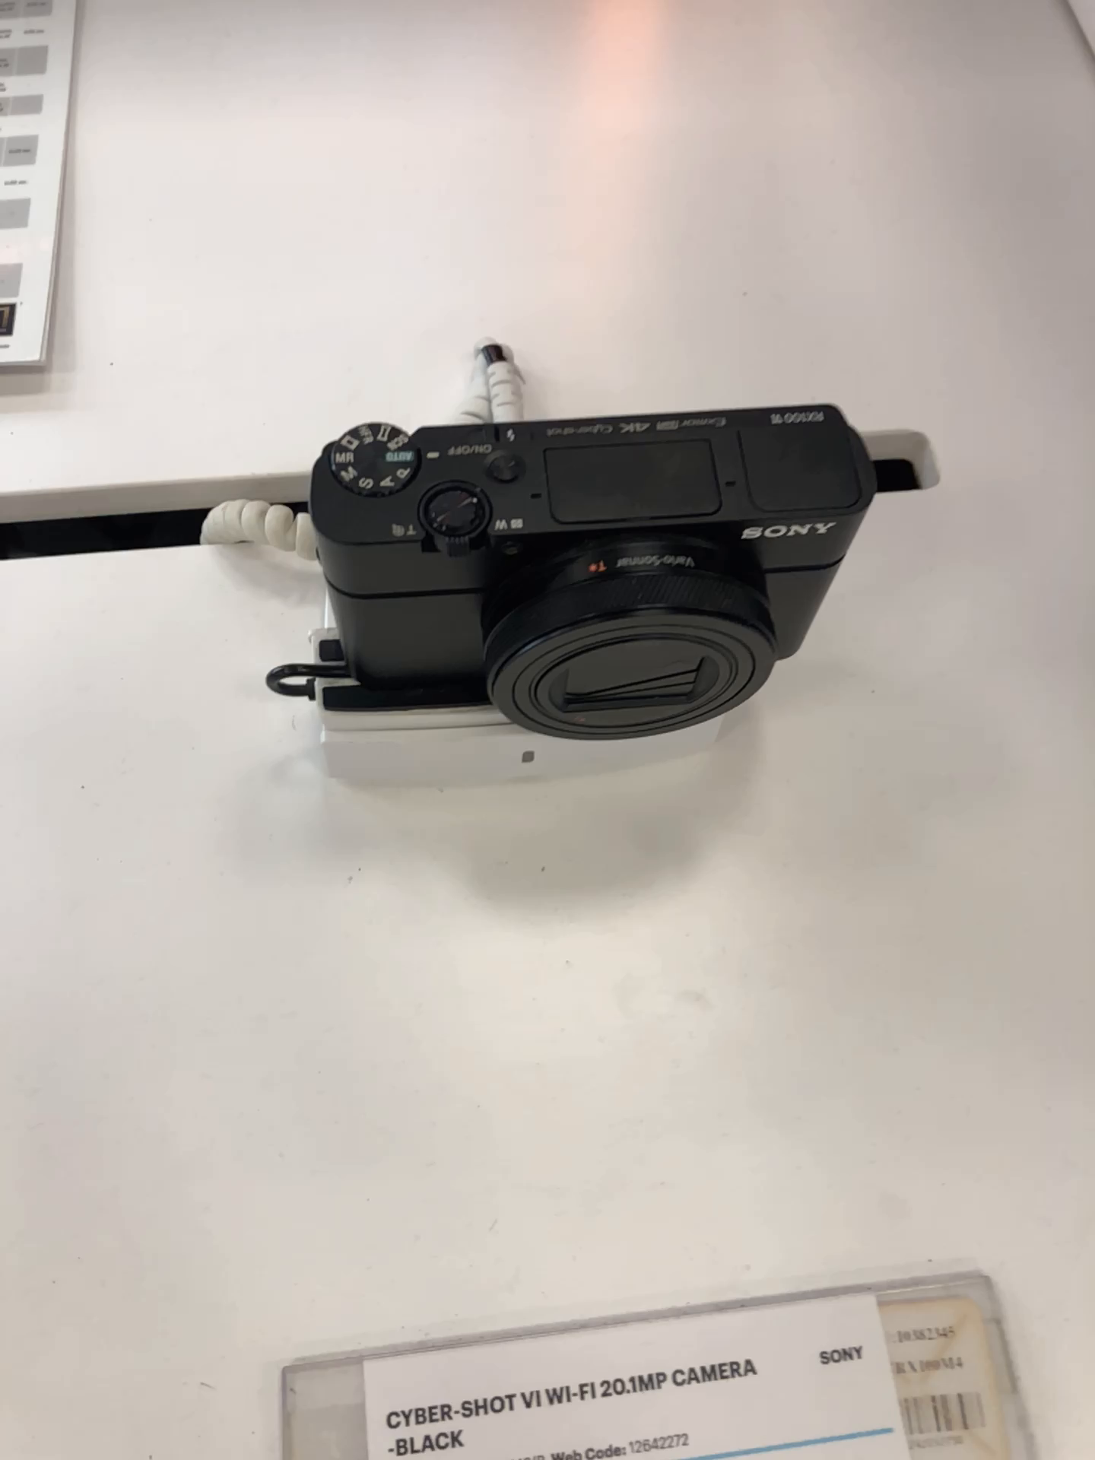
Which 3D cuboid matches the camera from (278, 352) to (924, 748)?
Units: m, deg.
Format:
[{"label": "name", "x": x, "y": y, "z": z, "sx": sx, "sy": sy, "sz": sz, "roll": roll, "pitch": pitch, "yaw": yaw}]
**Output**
[{"label": "camera", "x": 0.007, "y": -0.033, "z": 0.247, "sx": 0.110, "sy": 0.070, "sz": 0.040, "roll": -4, "pitch": 64, "yaw": -5}]
